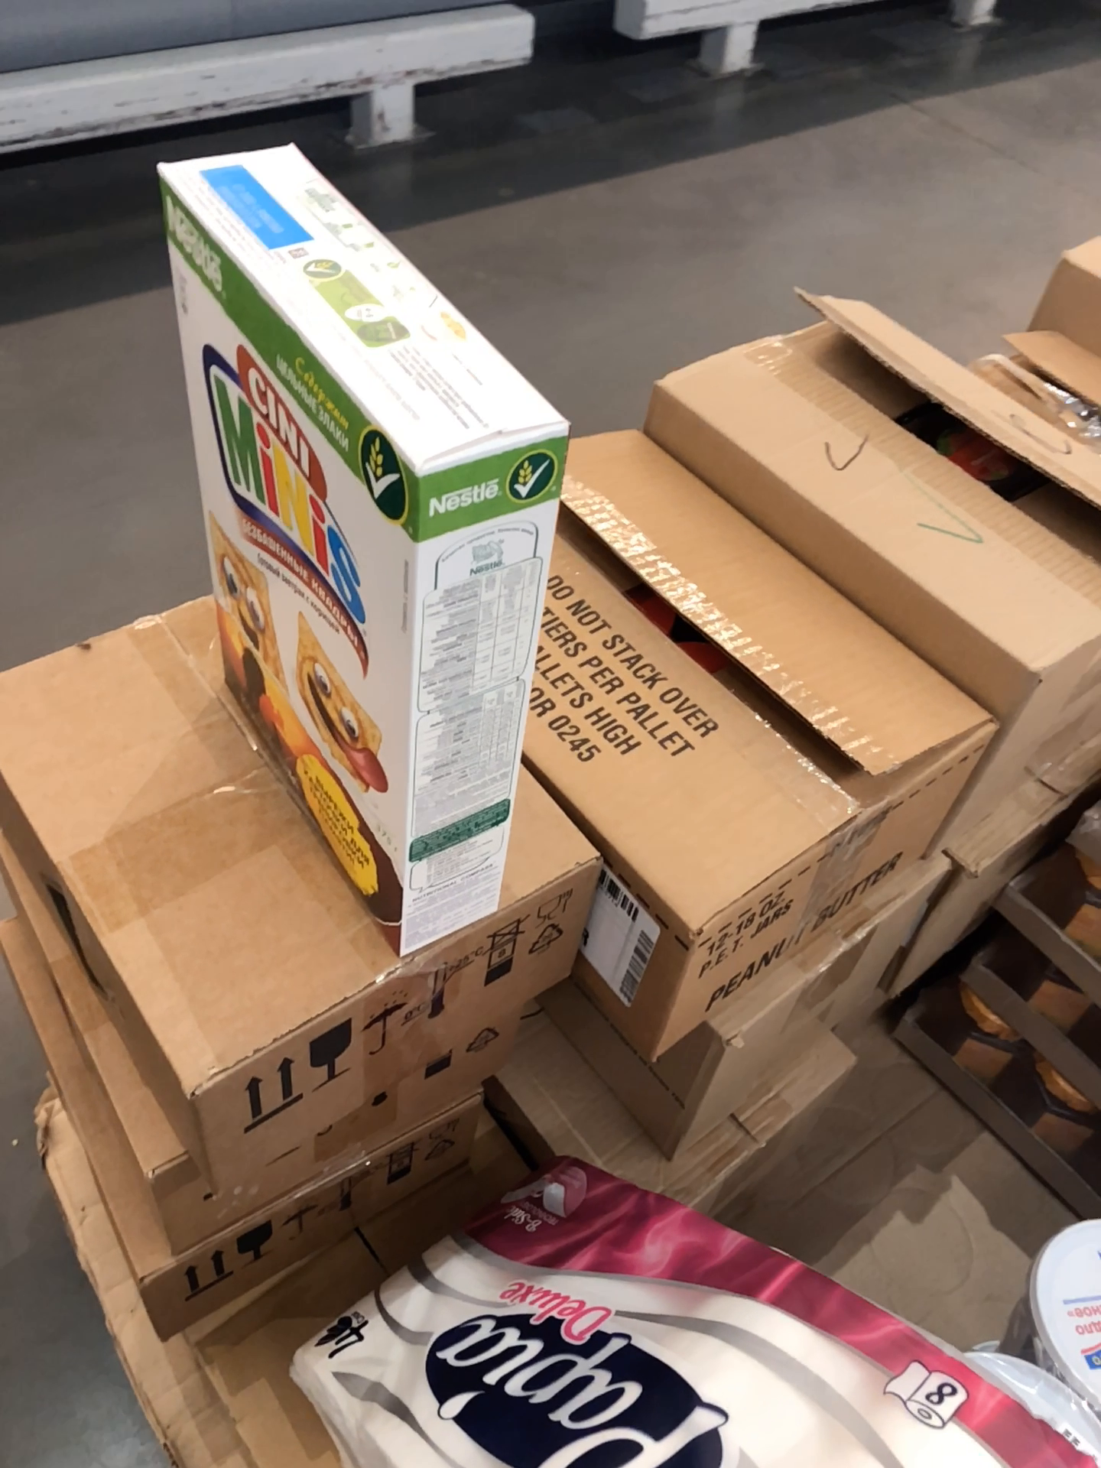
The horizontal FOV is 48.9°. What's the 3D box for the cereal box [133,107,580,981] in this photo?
[{"bbox_3d":[-0.083,-0.063,0.486,0.060,0.278,0.201,-21,54,-24],"label":"cereal box"}]
